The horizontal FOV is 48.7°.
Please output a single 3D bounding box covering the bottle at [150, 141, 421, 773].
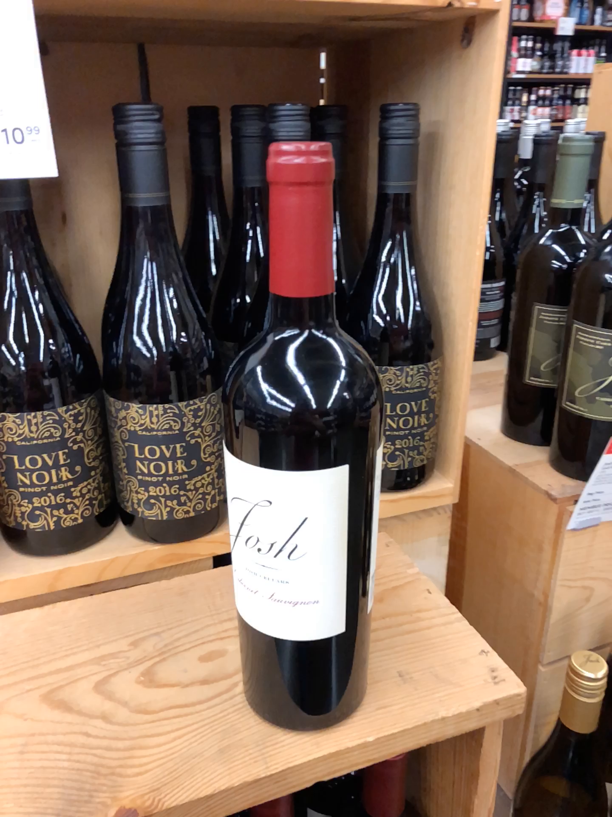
[{"bbox_3d":[-0.006,0.026,0.336,0.080,0.293,0.080,0,23,0],"label":"bottle"}]
